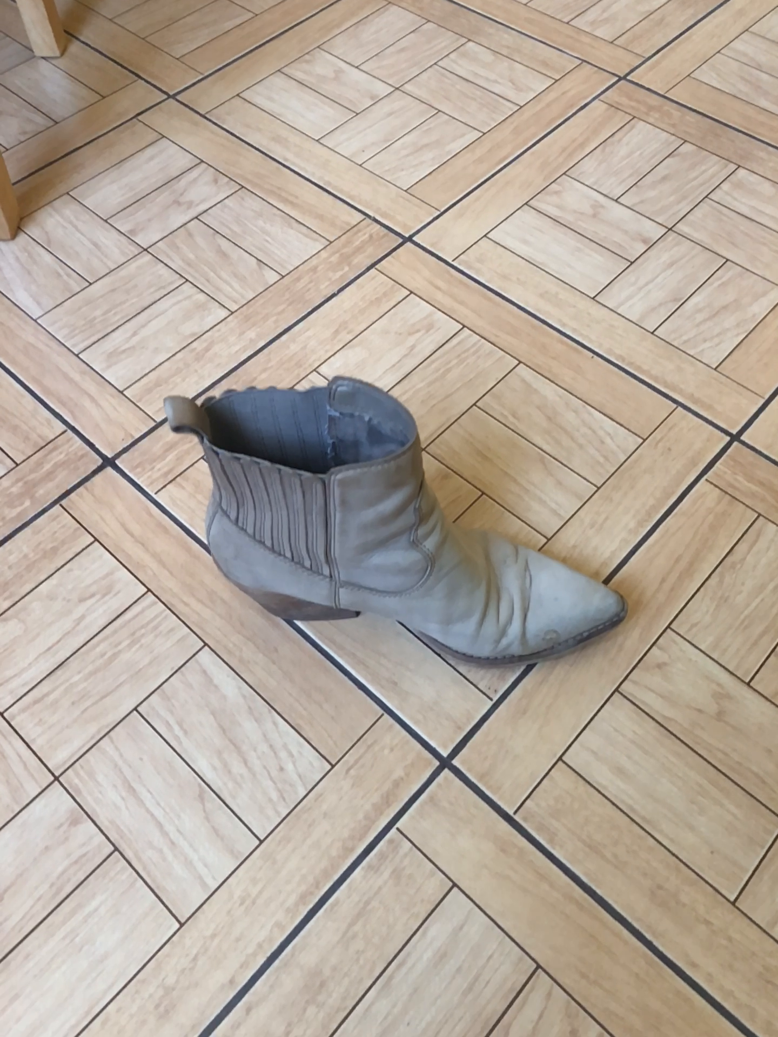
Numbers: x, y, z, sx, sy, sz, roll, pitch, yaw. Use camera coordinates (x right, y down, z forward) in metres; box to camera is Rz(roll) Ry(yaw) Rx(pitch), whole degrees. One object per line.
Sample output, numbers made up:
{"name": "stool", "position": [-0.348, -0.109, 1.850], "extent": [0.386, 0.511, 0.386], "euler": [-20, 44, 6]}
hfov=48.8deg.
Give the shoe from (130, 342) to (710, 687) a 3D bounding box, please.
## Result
{"name": "shoe", "position": [0.017, 0.007, 0.483], "extent": [0.260, 0.180, 0.090], "euler": [5, 58, 4]}
